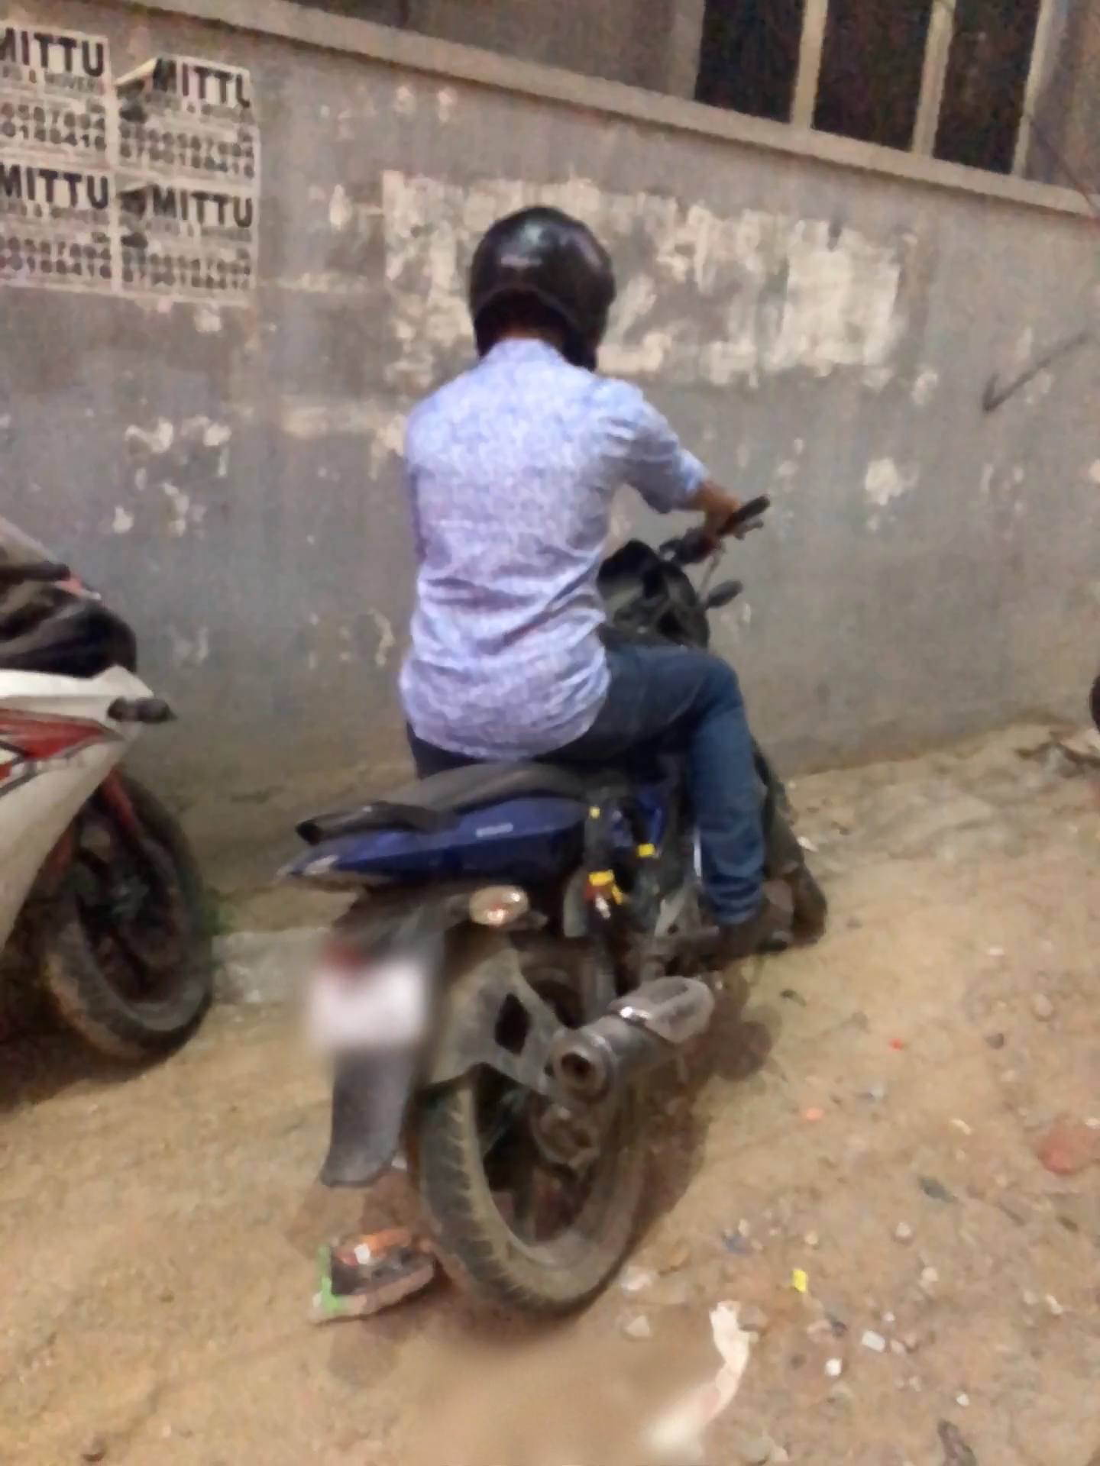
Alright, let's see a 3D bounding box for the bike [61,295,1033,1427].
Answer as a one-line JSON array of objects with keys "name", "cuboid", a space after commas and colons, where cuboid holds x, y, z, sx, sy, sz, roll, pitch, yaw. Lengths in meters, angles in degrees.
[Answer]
[{"name": "bike", "cuboid": [0.163, -0.013, 2.163, 1.091, 1.113, 1.512, 10, 27, 15]}]
